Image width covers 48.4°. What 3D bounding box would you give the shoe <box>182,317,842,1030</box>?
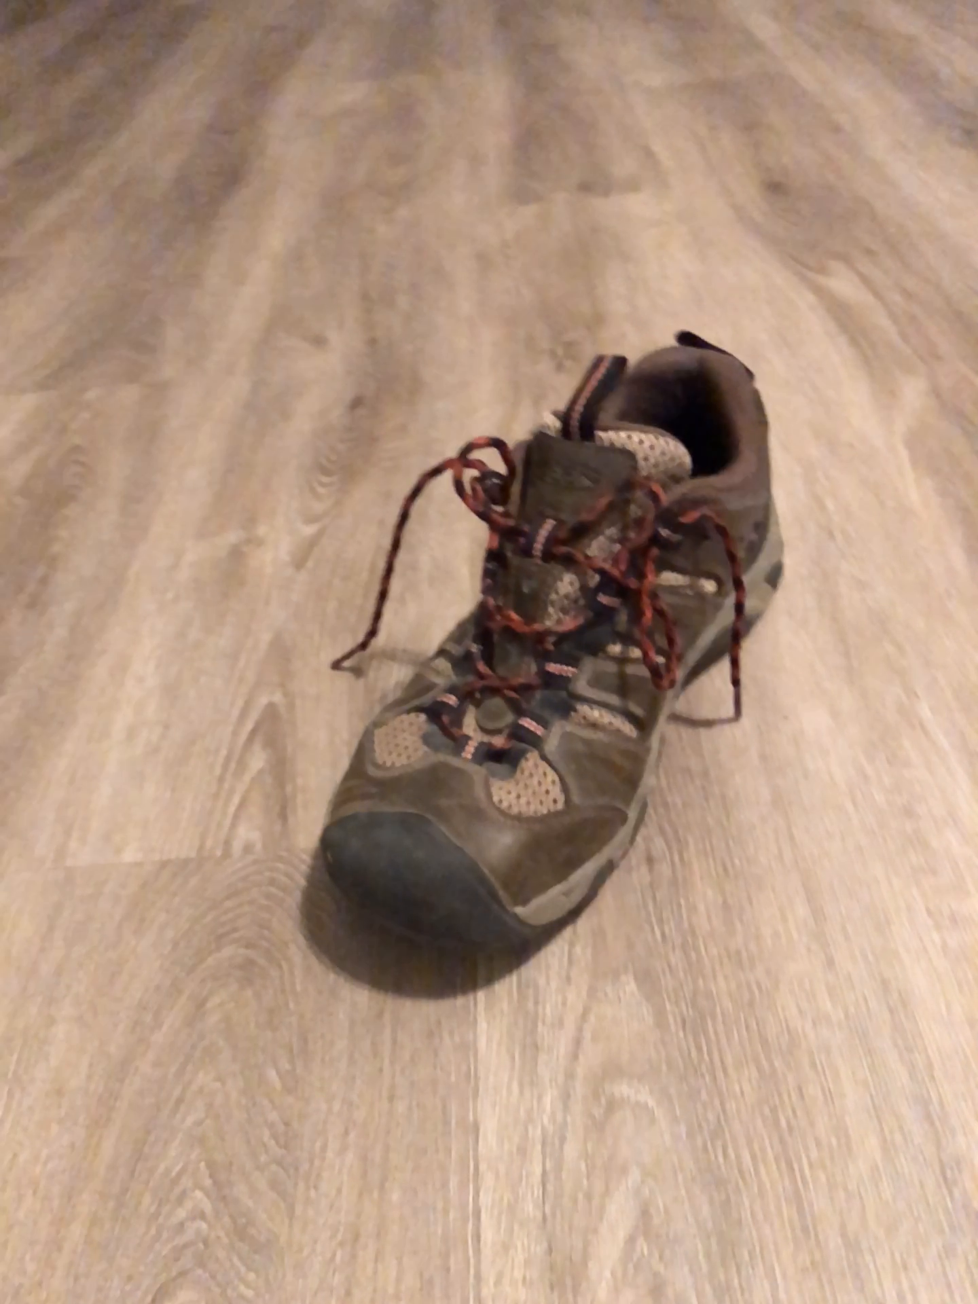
[{"bbox_3d":[0.031,-0.018,0.407,0.110,0.100,0.271,17,45,26],"label":"shoe"}]
